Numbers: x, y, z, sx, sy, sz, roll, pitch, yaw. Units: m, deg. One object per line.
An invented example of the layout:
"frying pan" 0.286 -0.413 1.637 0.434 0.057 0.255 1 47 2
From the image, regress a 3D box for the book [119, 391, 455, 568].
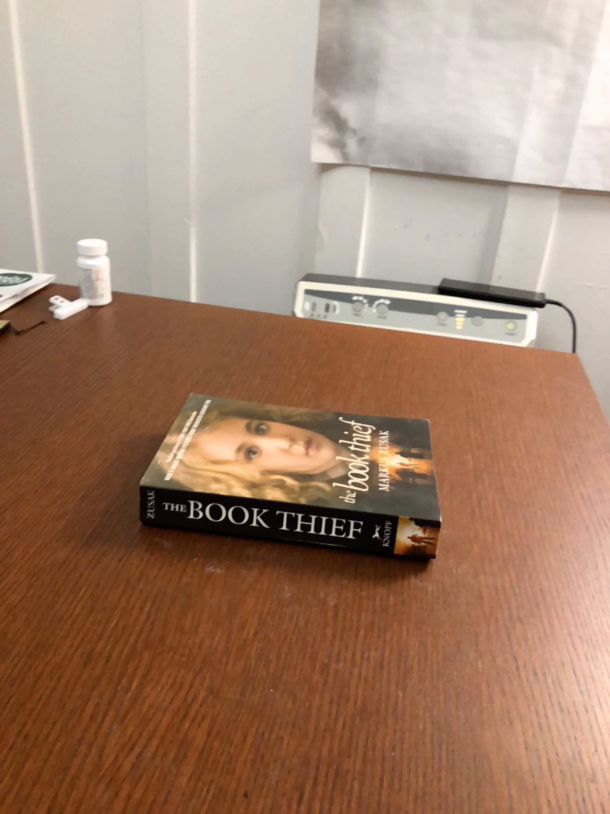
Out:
"book" -0.006 0.046 0.510 0.220 0.030 0.151 7 27 3
